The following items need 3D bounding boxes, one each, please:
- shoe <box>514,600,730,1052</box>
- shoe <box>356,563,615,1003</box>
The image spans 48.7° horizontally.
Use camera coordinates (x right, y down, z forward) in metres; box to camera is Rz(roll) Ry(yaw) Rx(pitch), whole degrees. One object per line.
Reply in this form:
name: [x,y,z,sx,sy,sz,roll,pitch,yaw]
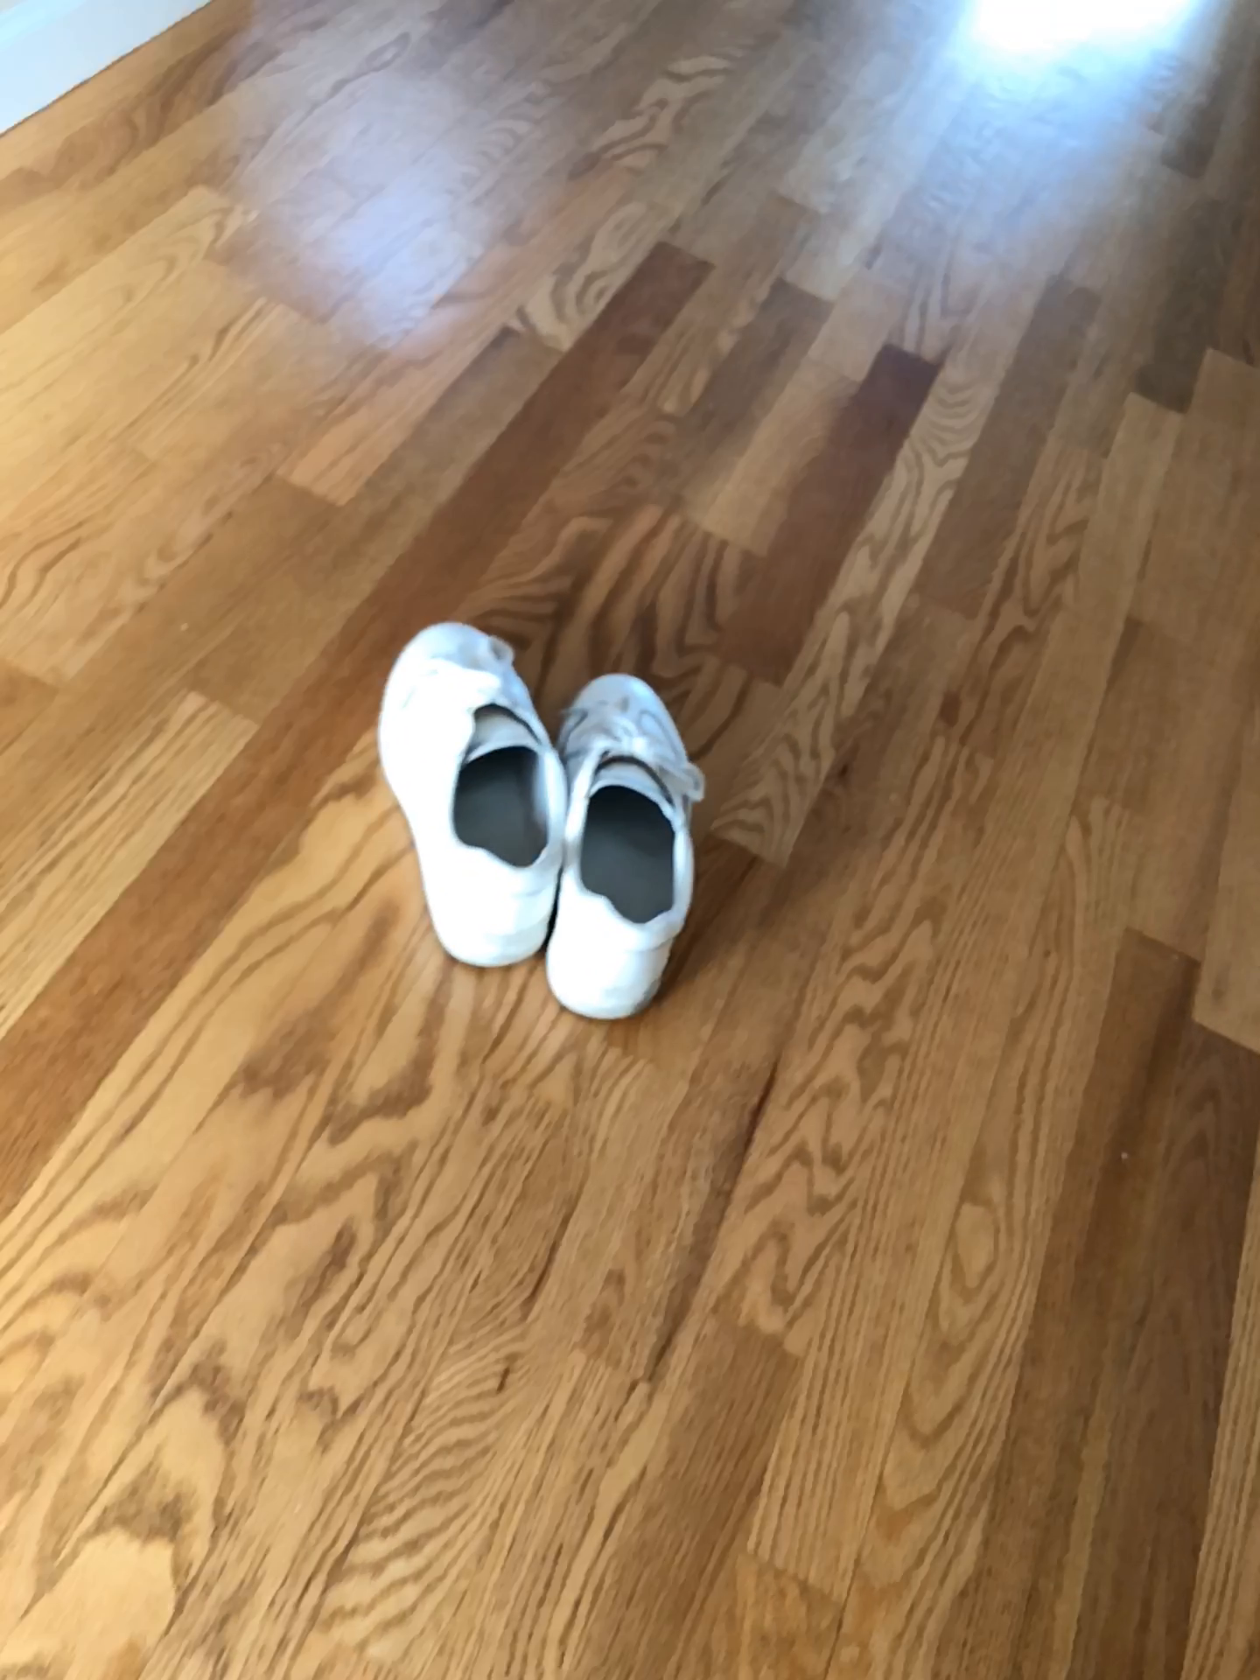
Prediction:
shoe: [-0.002,-0.013,0.889,0.102,0.106,0.261,10,54,-9]
shoe: [-0.100,-0.042,0.884,0.103,0.104,0.261,-5,58,-19]
